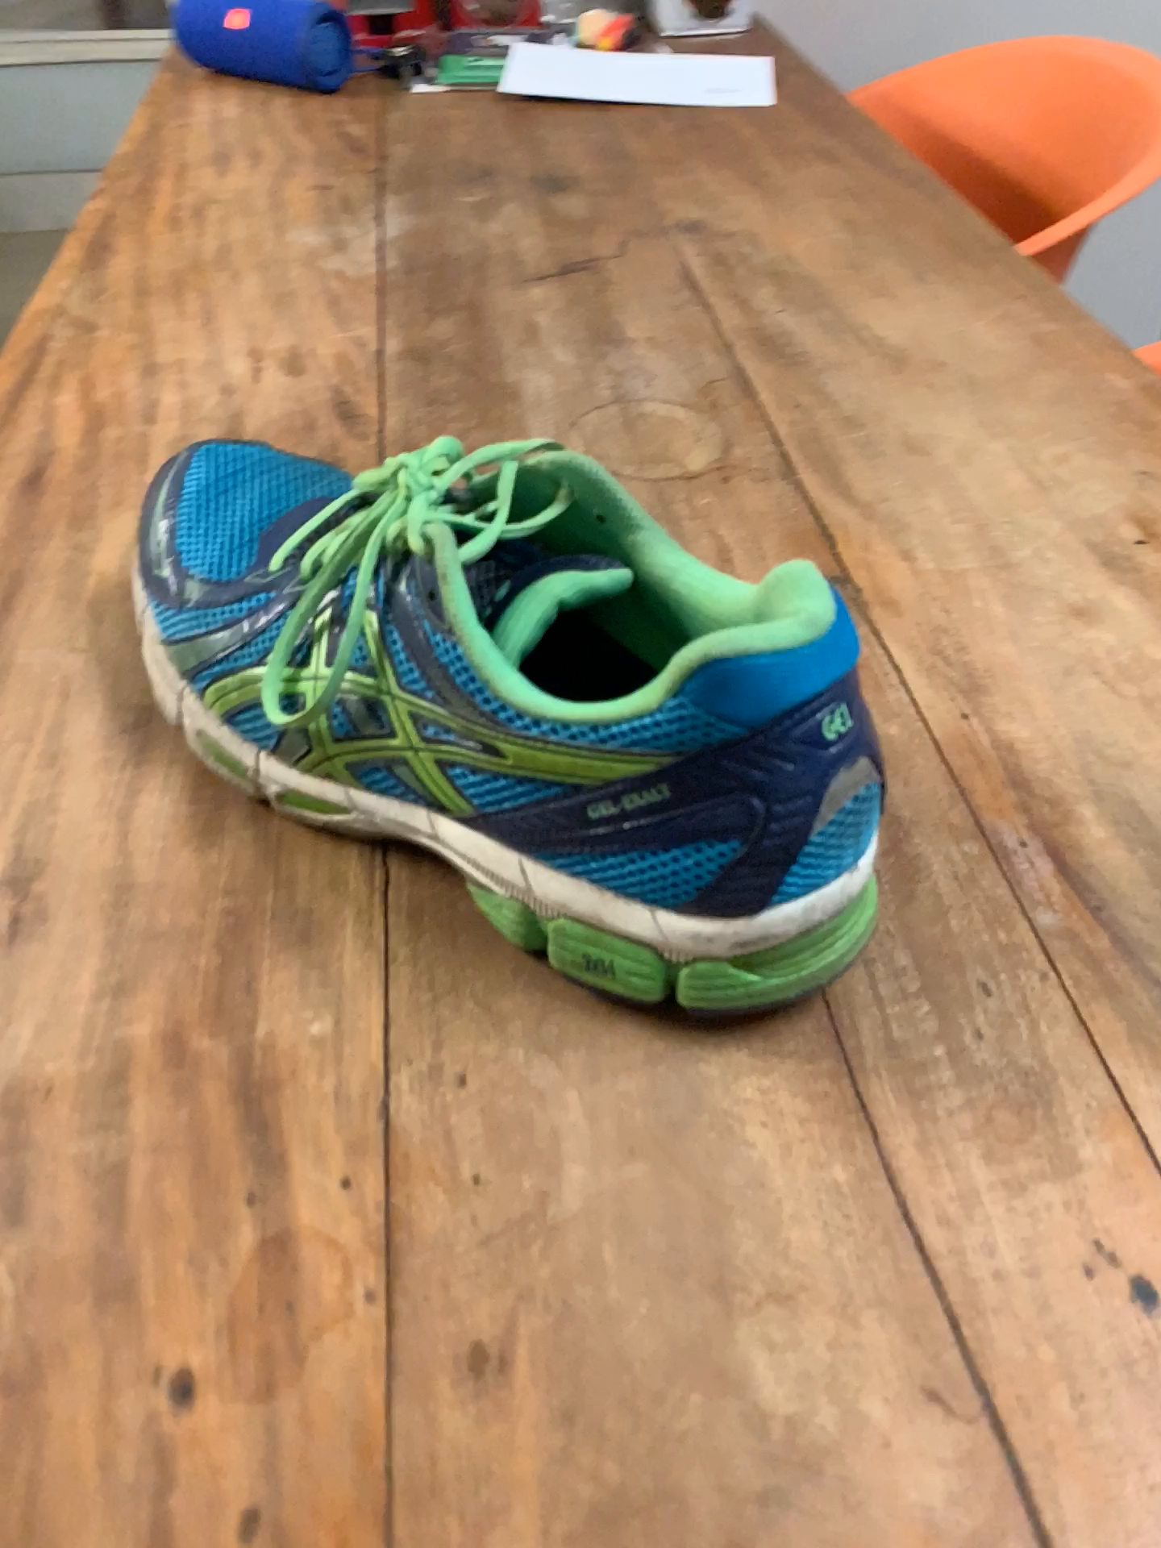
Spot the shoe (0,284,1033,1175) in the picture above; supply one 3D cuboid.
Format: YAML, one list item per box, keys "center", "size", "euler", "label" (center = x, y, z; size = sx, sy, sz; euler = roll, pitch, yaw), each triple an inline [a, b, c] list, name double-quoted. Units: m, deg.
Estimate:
- center: [-0.040, -0.038, 0.365]
  size: [0.301, 0.119, 0.110]
  euler: [31, 53, 31]
  label: "shoe"
